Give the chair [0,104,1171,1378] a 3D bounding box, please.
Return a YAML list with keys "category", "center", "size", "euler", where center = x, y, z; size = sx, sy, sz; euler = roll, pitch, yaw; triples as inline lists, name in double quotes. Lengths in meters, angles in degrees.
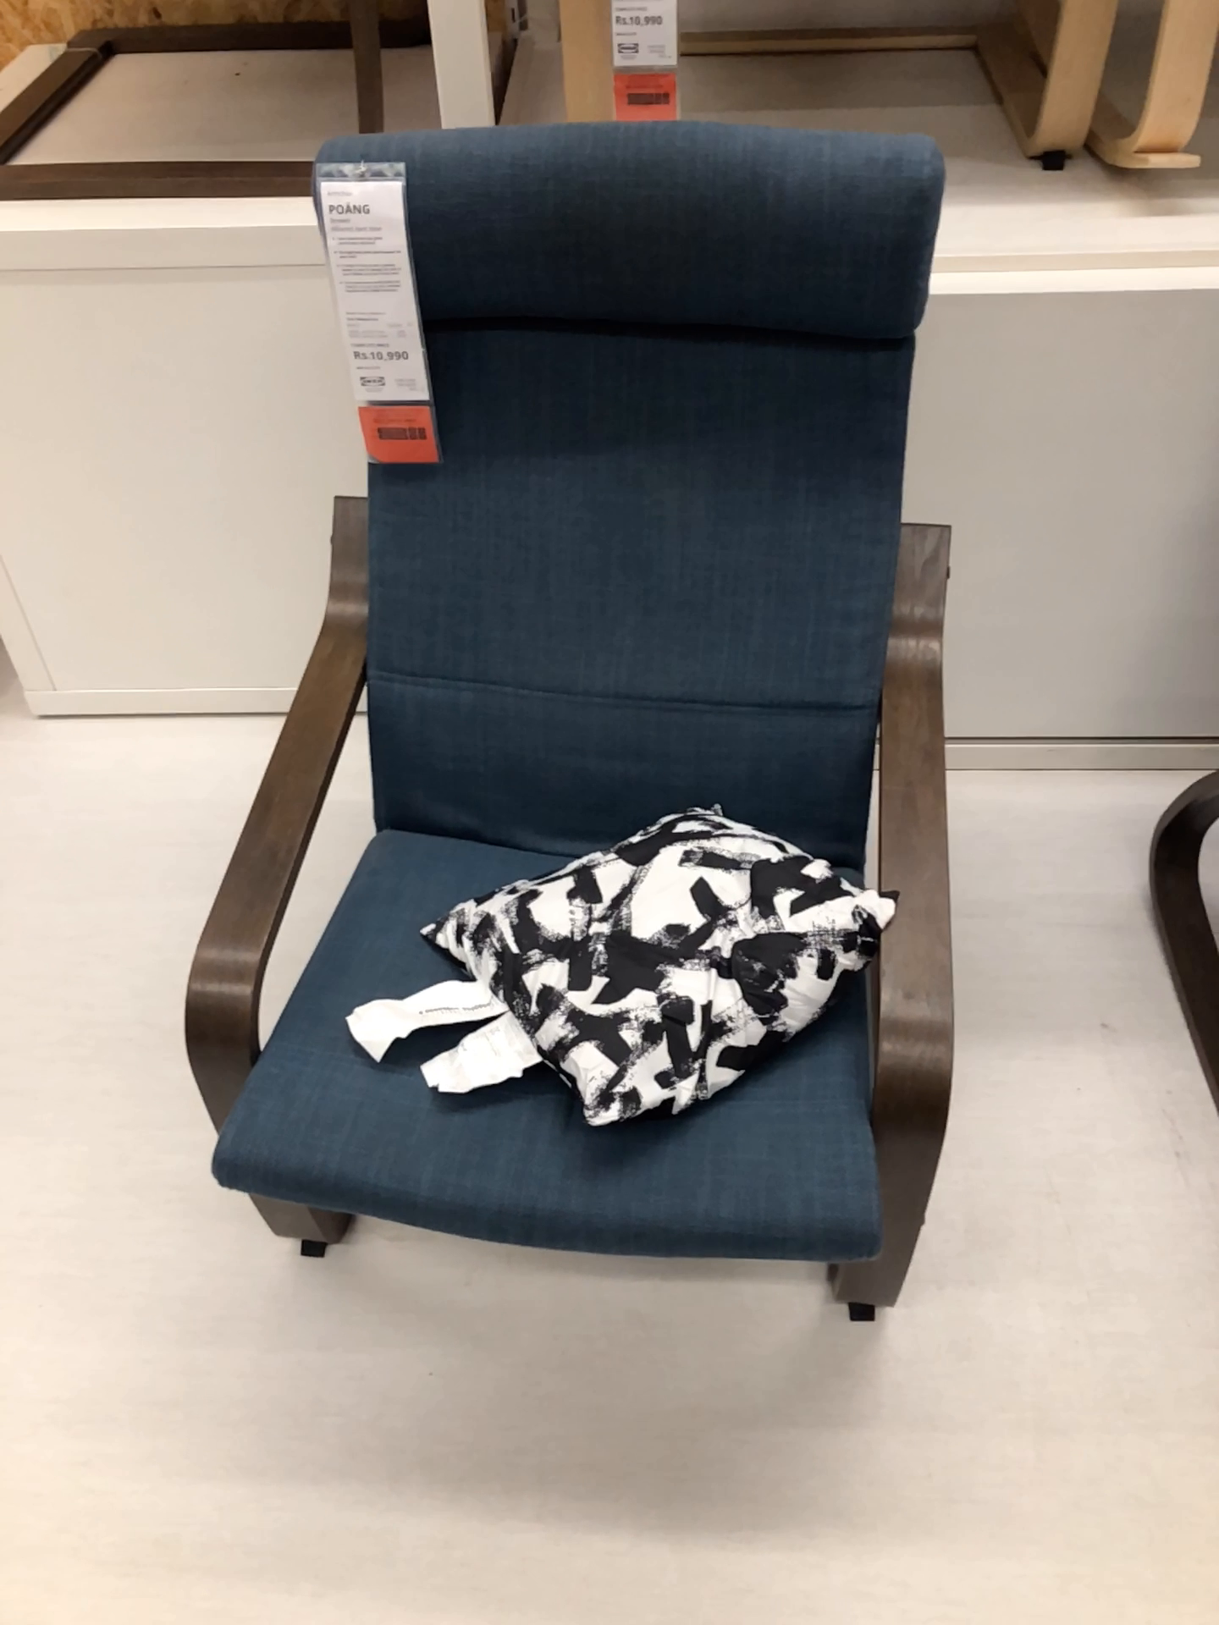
- category: "chair"
  center: [-0.023, -0.057, 1.231]
  size: [0.720, 0.884, 0.694]
  euler: [5, 45, 8]
